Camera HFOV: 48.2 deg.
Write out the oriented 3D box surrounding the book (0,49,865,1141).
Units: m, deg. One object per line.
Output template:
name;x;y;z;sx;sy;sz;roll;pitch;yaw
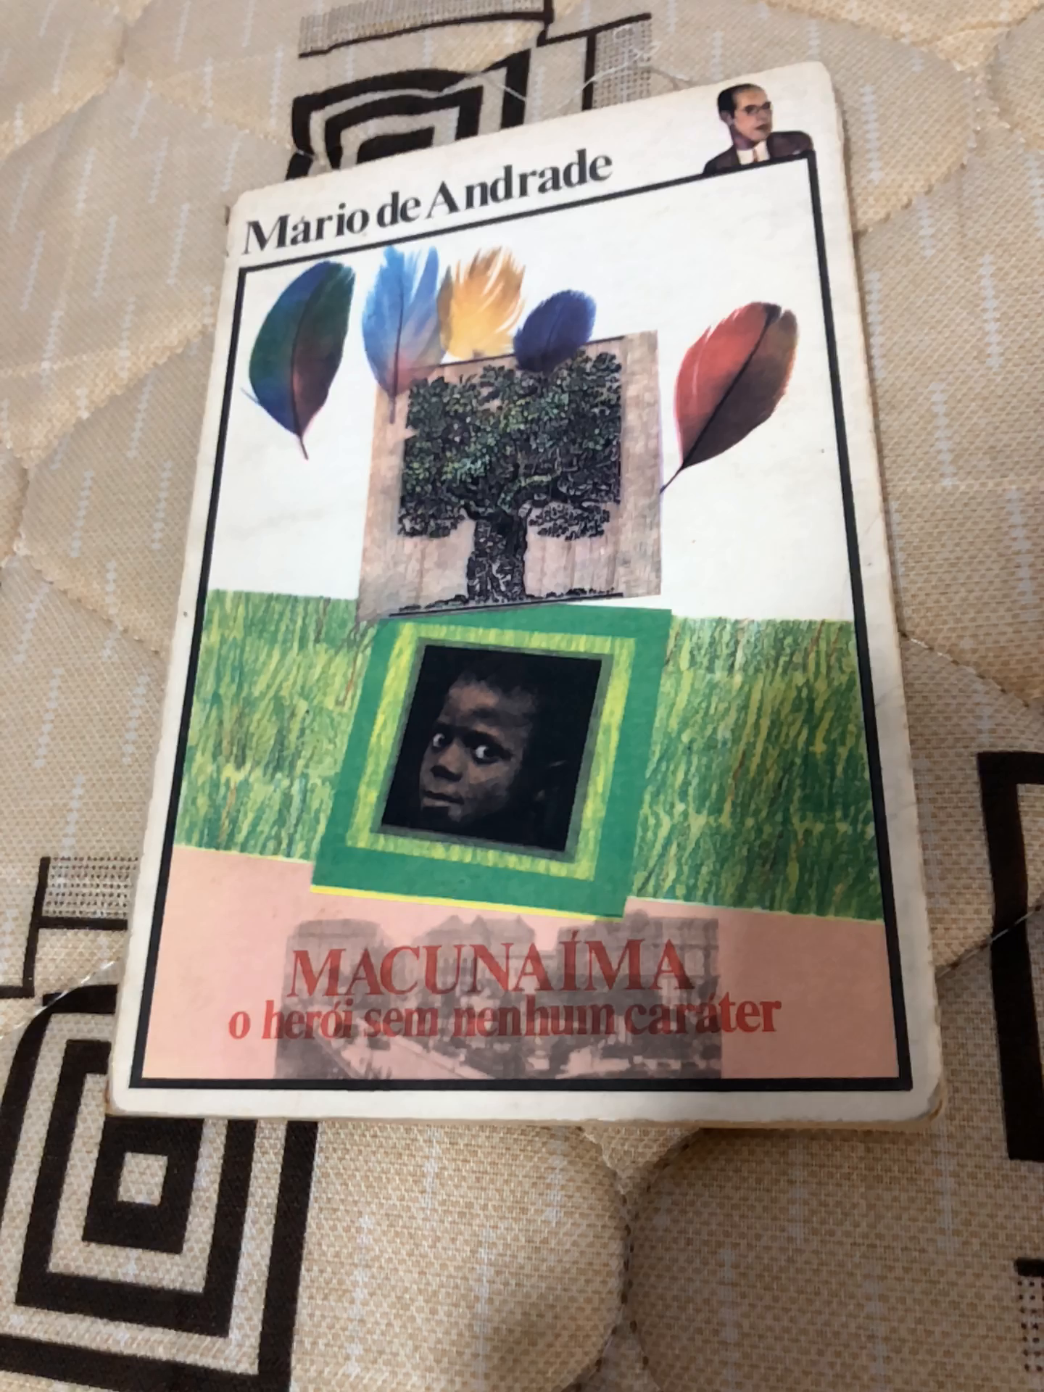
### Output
book;-0.015;-0.024;0.208;0.130;0.020;0.190;-5;67;15
